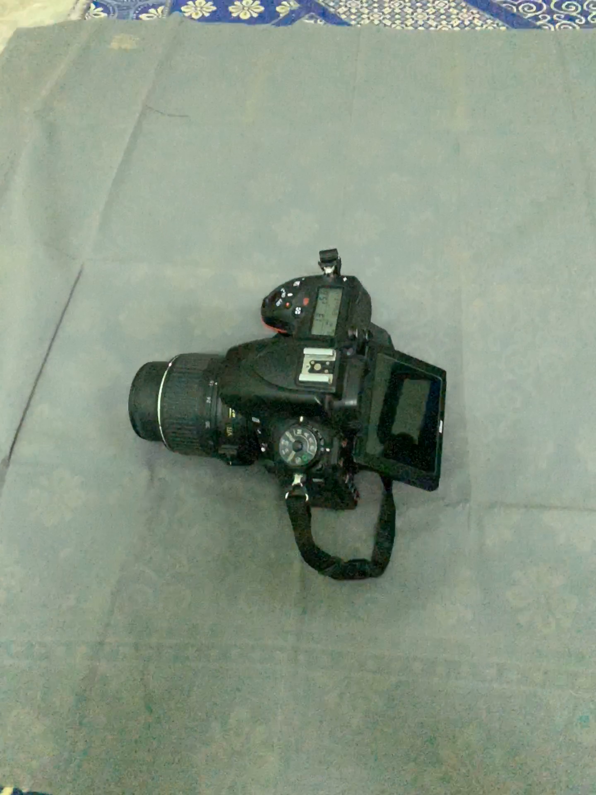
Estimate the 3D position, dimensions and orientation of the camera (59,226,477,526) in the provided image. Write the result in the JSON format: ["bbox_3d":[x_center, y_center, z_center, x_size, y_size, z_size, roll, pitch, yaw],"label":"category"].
[{"bbox_3d":[-0.010,-0.017,0.418,0.230,0.100,0.165,3,59,5],"label":"camera"}]
